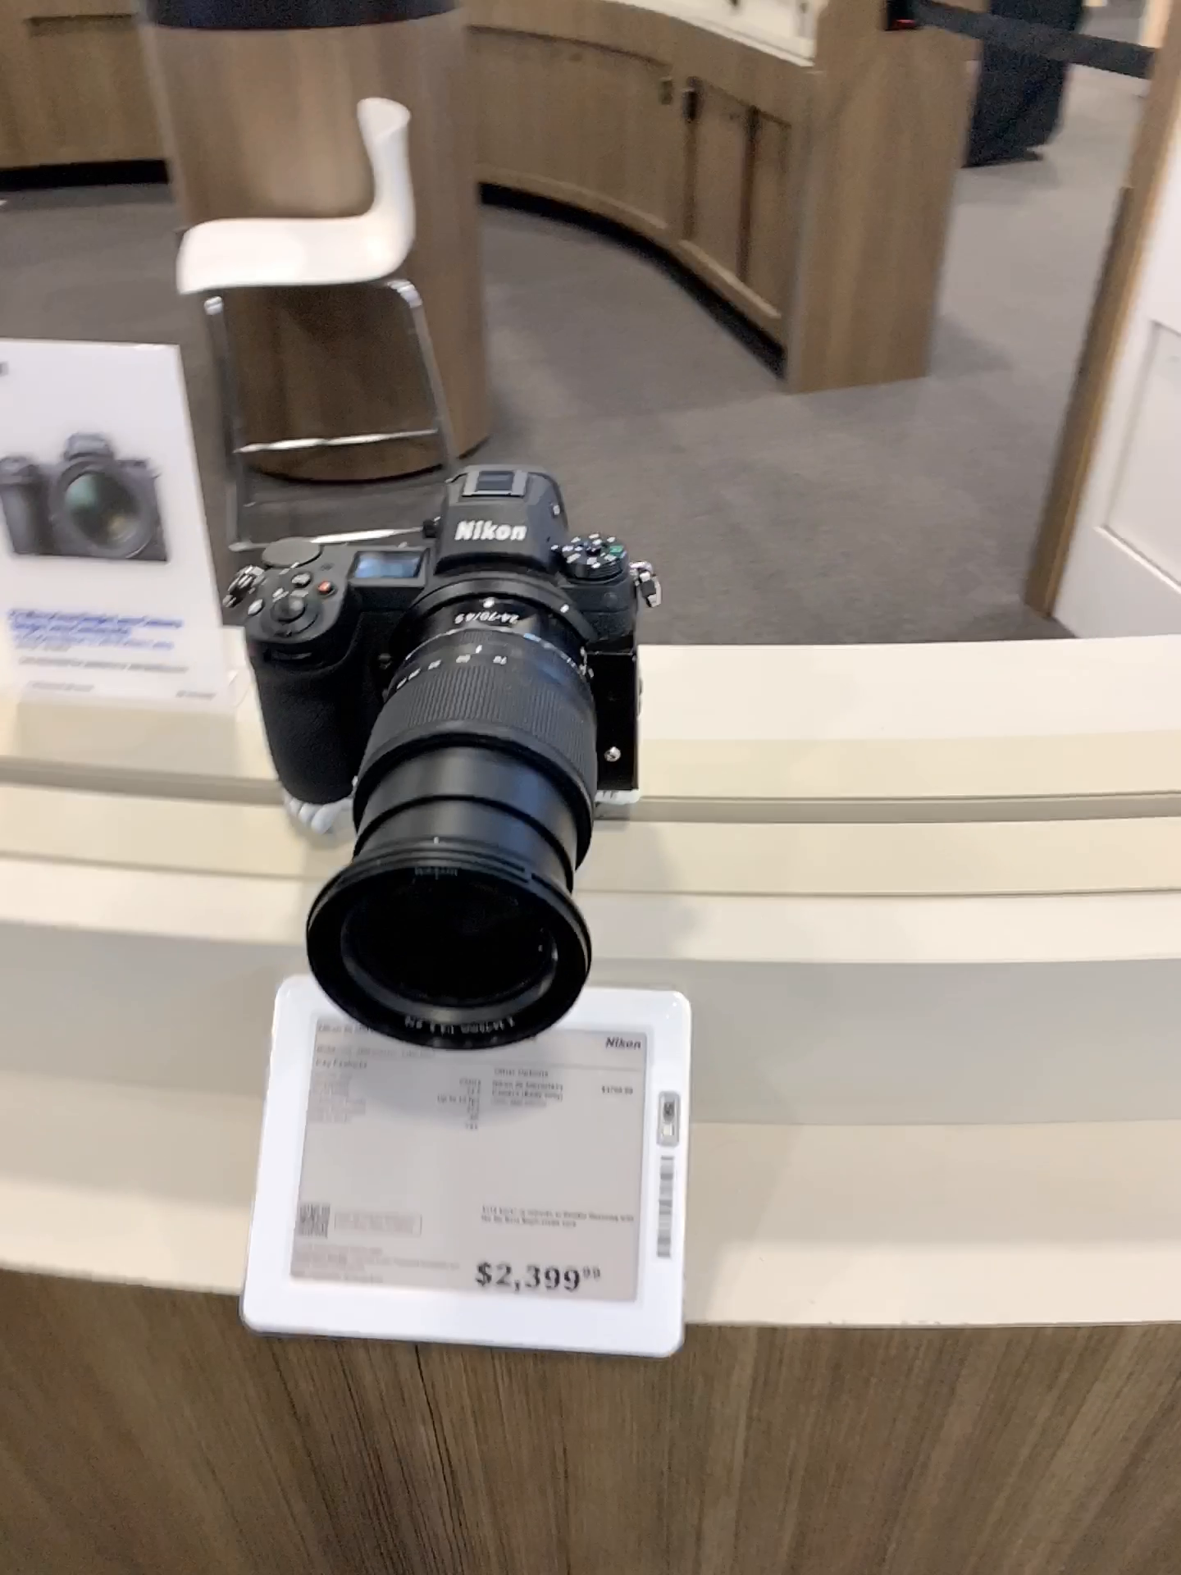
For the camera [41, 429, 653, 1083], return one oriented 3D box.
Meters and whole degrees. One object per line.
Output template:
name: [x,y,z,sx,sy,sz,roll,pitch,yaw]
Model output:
camera: [-0.052,-0.025,0.392,0.140,0.099,0.211,1,39,3]
